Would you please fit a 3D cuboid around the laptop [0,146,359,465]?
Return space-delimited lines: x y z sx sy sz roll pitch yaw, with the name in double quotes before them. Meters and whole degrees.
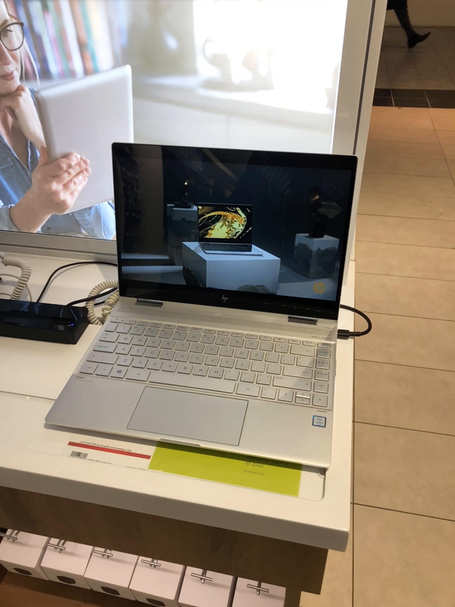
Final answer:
"laptop" -0.021 -0.023 0.558 0.299 0.193 0.283 6 38 11
